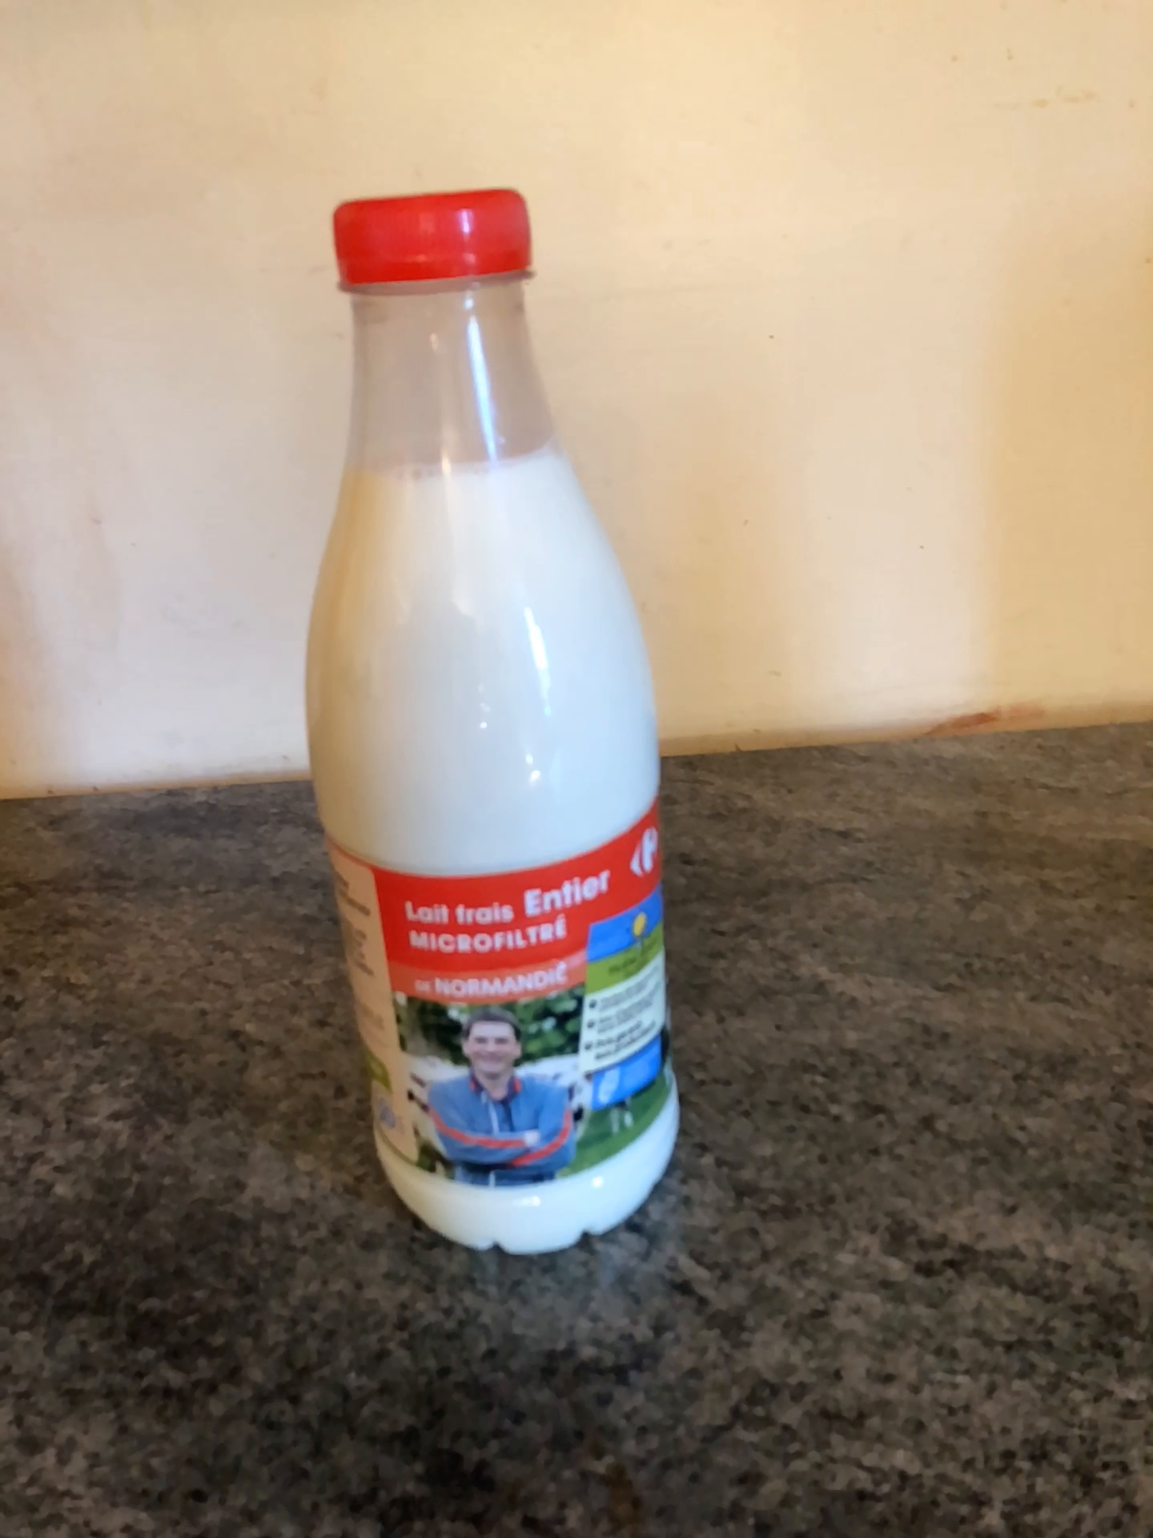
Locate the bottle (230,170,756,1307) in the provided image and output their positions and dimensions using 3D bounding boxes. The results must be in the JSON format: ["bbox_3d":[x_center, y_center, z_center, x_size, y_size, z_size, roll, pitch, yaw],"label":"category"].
[{"bbox_3d":[-0.015,-0.004,0.306,0.090,0.249,0.080,-10,25,-13],"label":"bottle"}]
